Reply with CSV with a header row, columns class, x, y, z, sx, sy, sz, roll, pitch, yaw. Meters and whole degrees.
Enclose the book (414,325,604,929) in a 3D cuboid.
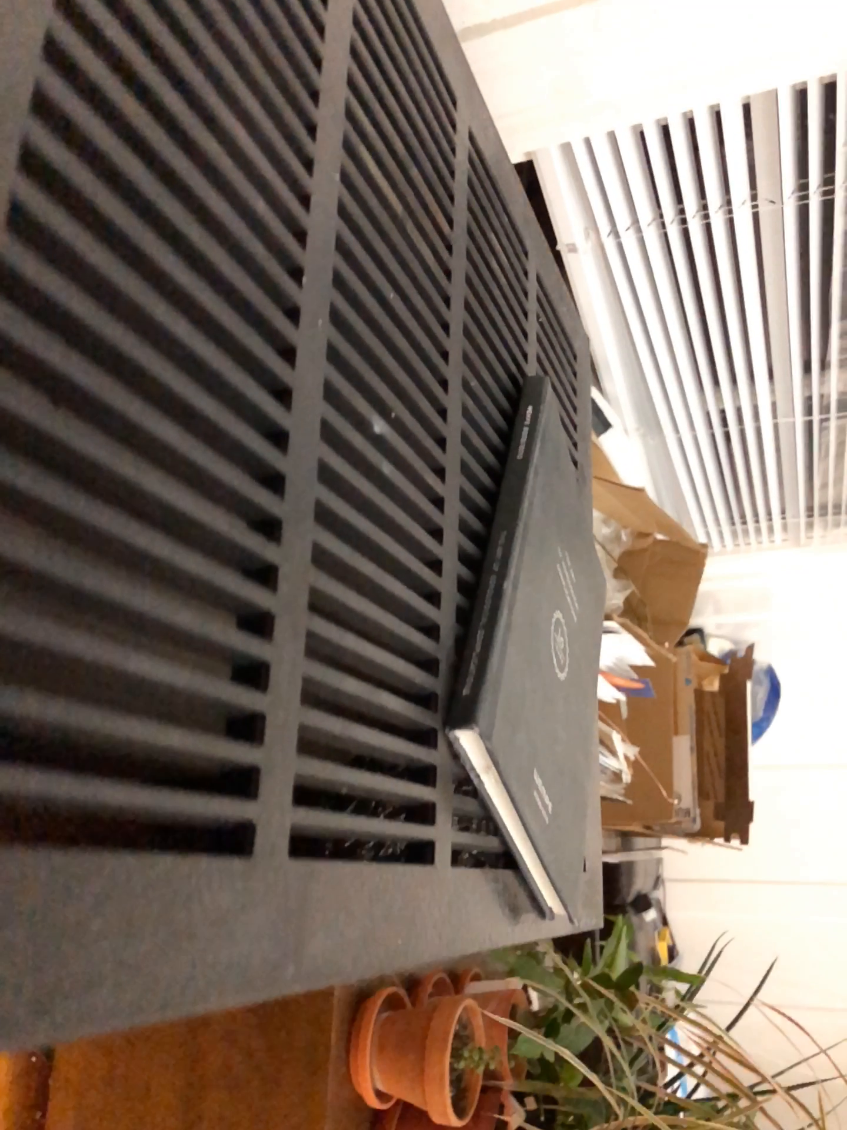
class,x,y,z,sx,sy,sz,roll,pitch,yaw
book,0.056,0.021,0.459,0.251,0.020,0.160,-75,151,-42
